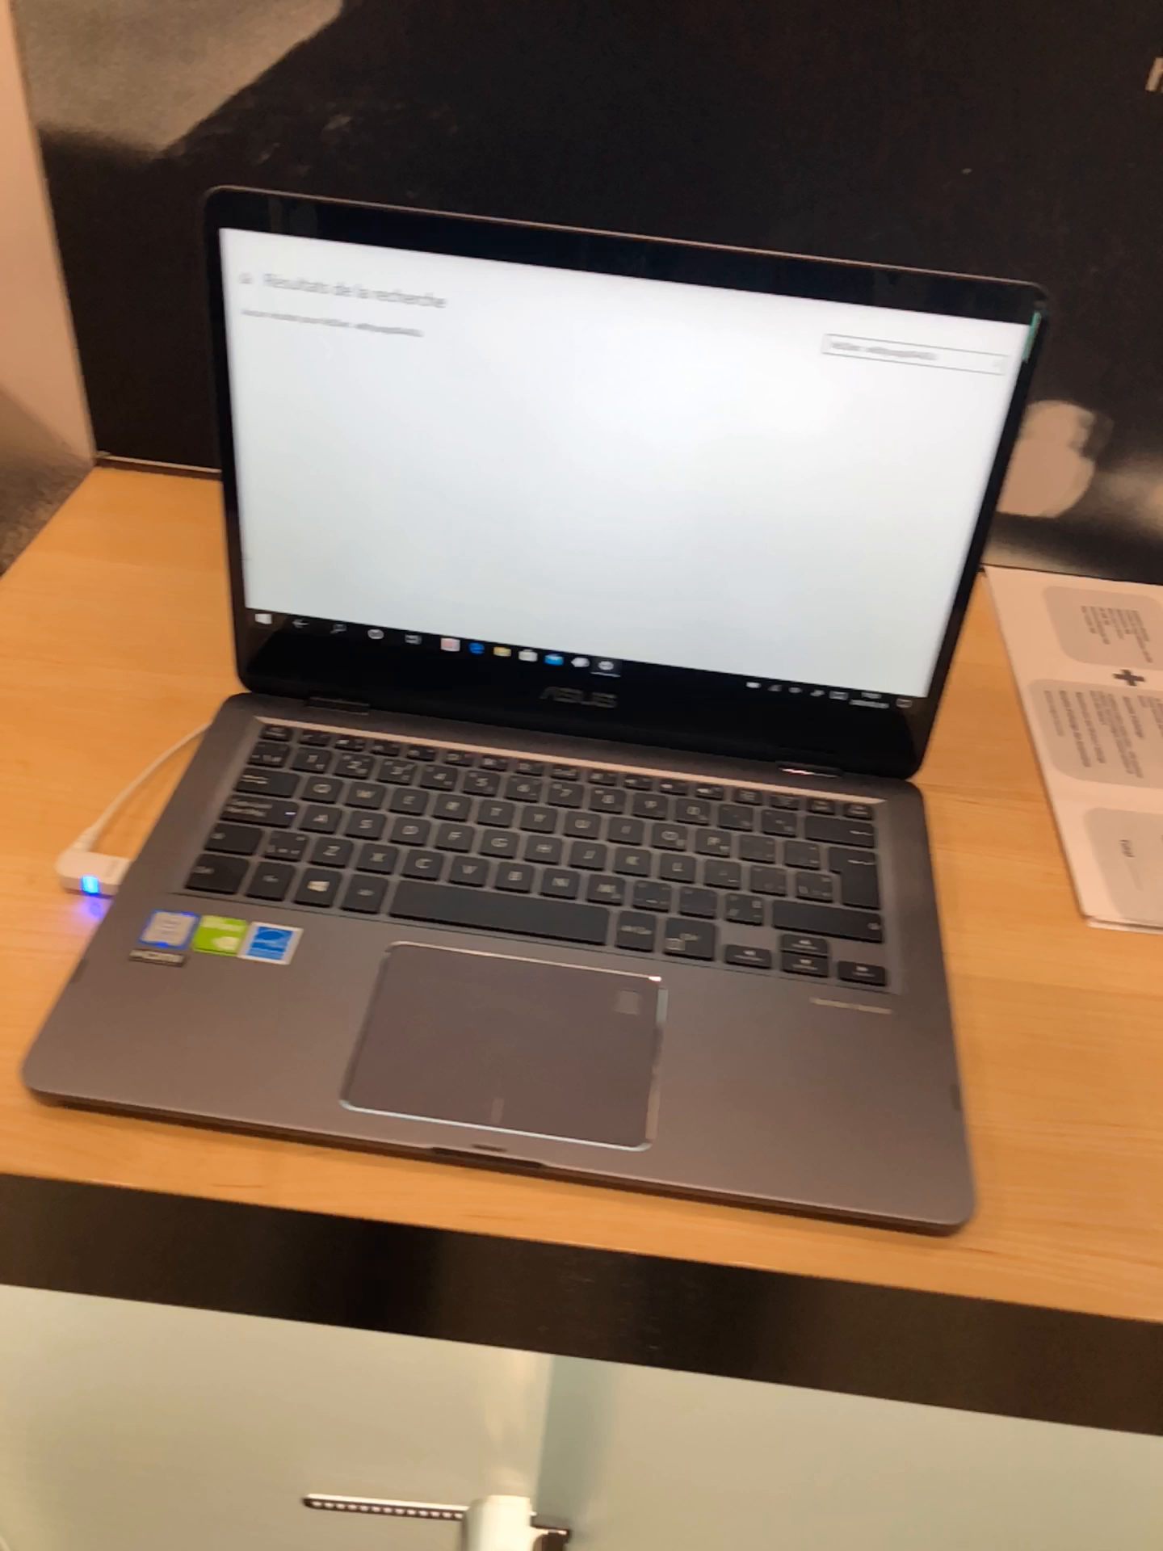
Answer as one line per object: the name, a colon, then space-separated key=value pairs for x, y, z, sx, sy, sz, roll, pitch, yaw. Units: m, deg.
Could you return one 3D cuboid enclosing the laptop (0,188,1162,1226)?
laptop: x=-0.007 y=-0.034 z=0.448 sx=0.320 sy=0.224 sz=0.240 roll=8 pitch=40 yaw=2
